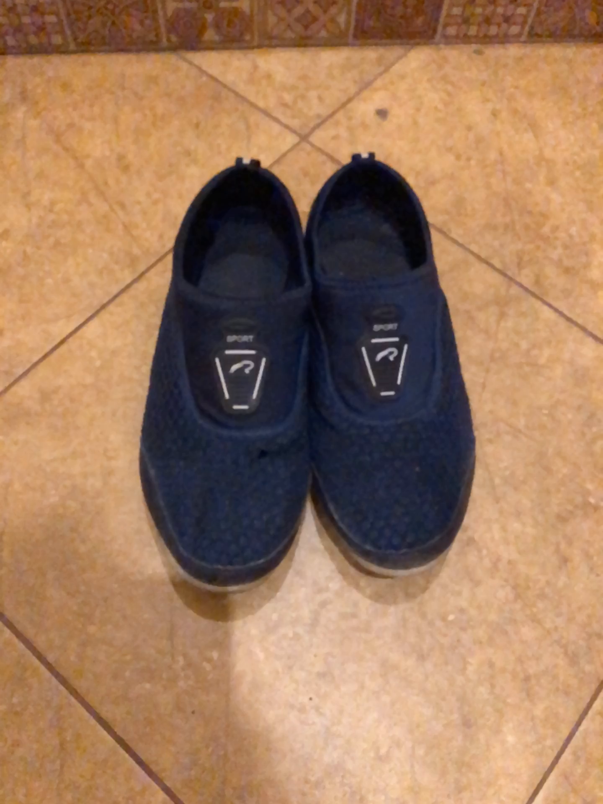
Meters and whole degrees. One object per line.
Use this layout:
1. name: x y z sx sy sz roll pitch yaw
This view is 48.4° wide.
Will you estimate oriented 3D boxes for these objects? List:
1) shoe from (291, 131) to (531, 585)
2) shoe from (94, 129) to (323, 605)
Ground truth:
1. shoe: 0.055 -0.038 0.433 0.110 0.070 0.291 -1 66 -3
2. shoe: -0.046 -0.030 0.414 0.110 0.070 0.291 1 66 -2
